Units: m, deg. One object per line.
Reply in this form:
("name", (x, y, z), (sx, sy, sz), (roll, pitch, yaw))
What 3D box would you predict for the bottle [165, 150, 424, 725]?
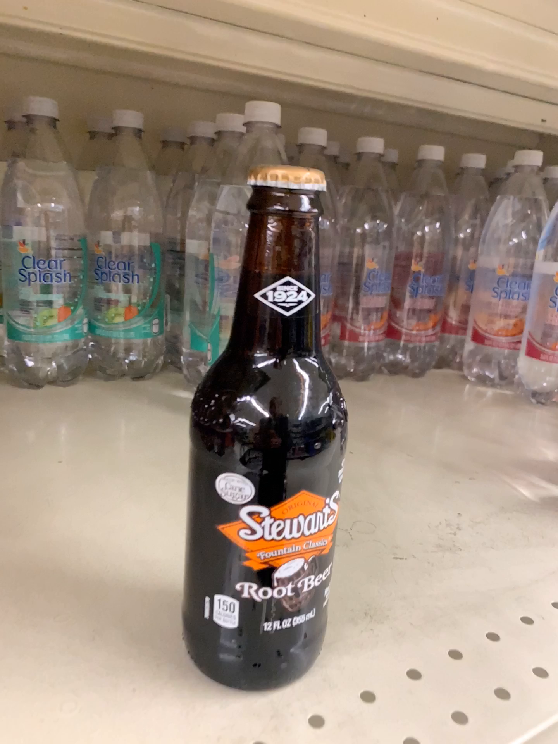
("bottle", (-0.003, 0.026, 0.232), (0.070, 0.208, 0.060), (-2, 17, -22))
